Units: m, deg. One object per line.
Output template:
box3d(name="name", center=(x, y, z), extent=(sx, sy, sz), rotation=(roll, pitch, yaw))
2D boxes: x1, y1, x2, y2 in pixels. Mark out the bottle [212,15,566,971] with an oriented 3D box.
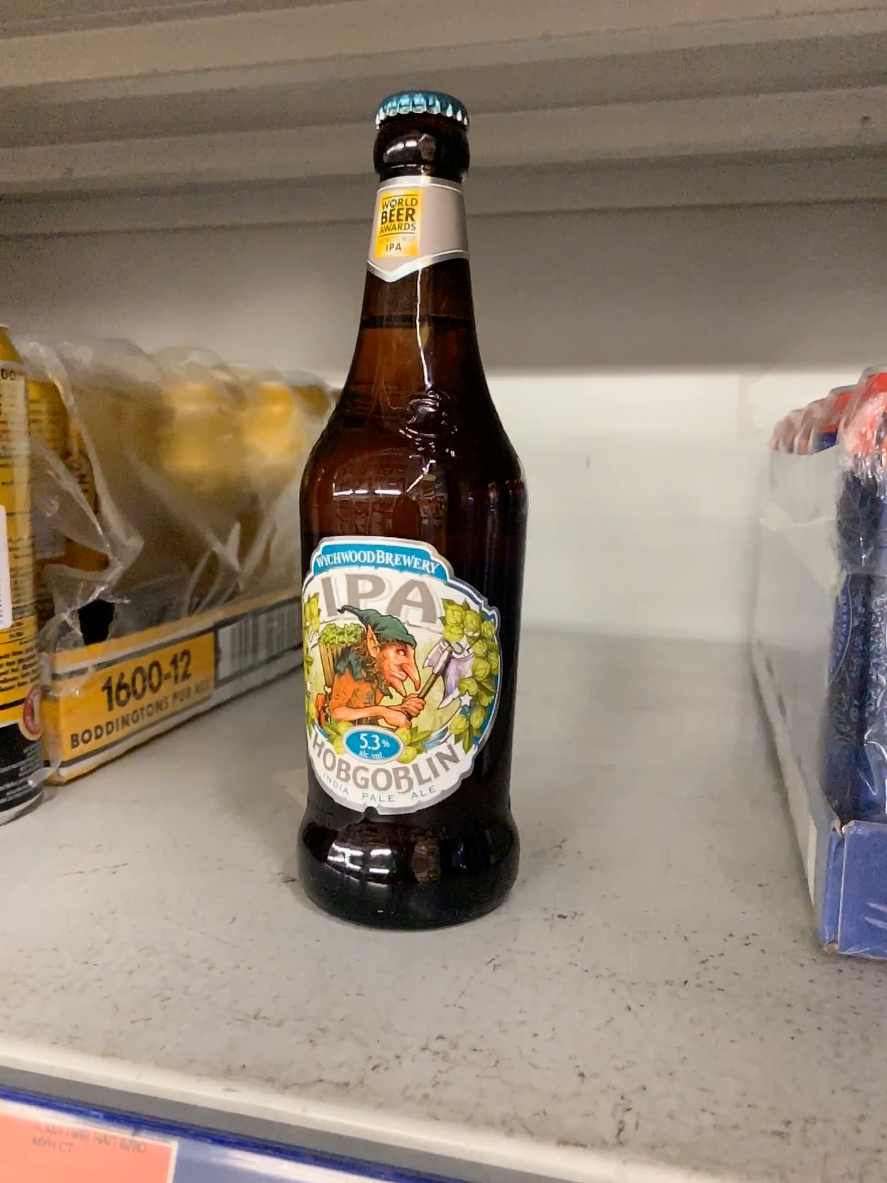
box3d(name="bottle", center=(-0.014, -0.025, 0.294), extent=(0.080, 0.250, 0.080), rotation=(1, 7, 0))
